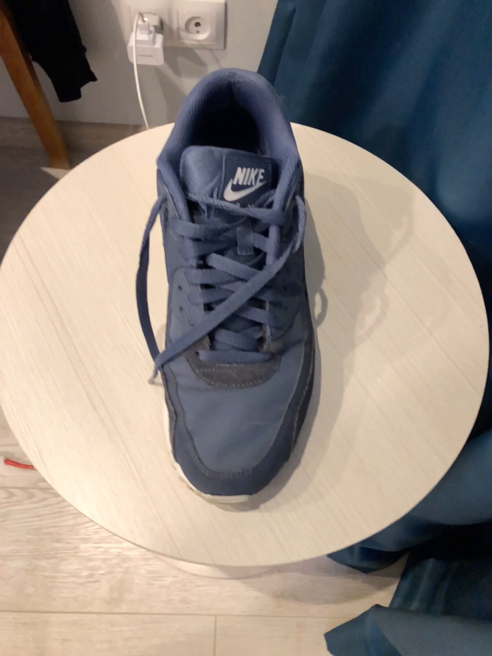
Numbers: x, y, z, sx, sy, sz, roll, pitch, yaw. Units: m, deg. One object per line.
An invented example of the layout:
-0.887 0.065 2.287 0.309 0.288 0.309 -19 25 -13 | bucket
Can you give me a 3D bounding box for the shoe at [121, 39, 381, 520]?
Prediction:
-0.002 -0.034 0.339 0.110 0.109 0.281 1 64 -4 | shoe
